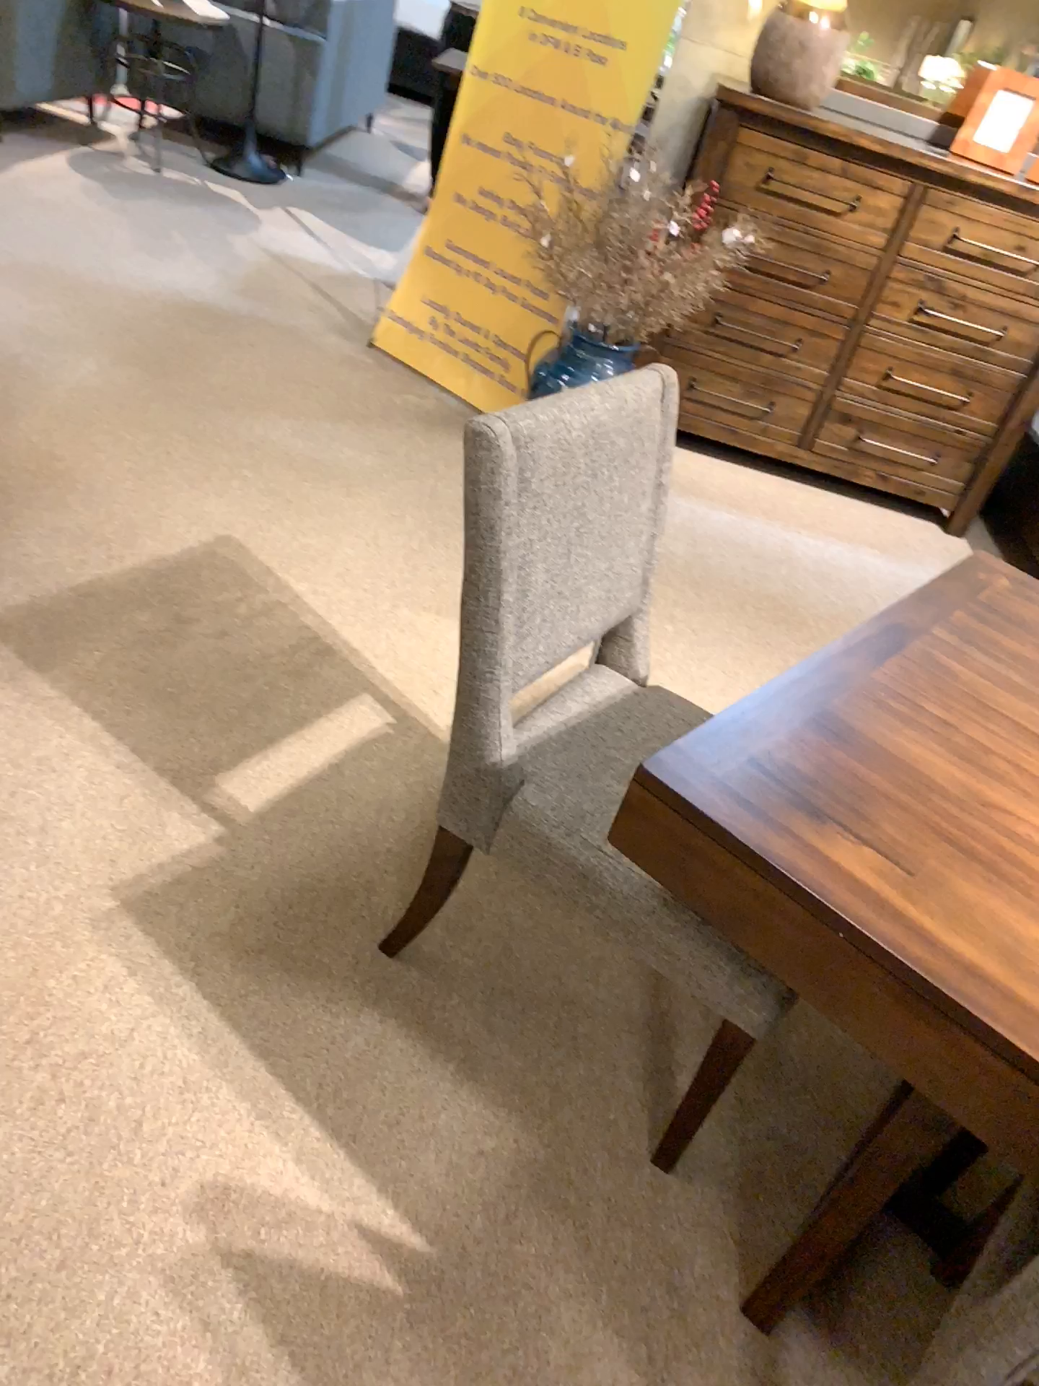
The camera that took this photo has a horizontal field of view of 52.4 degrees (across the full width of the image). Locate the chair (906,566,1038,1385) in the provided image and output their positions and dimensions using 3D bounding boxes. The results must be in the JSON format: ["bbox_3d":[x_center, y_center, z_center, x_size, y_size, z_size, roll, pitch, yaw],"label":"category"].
[{"bbox_3d":[1.048,0.386,1.429,0.480,0.862,0.633,36,38,24],"label":"chair"}]

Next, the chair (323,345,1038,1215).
[{"bbox_3d":[0.197,0.101,1.430,0.631,0.862,0.481,32,37,19],"label":"chair"}]
